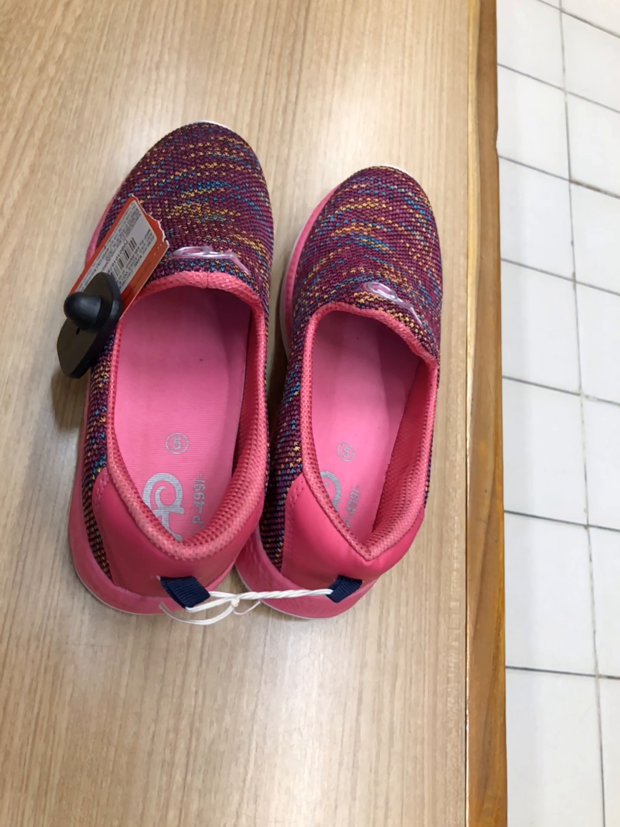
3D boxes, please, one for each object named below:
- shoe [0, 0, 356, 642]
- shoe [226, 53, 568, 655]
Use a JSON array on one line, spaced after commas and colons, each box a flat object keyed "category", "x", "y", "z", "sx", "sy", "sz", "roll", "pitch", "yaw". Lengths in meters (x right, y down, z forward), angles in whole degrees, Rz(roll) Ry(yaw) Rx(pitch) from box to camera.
[{"category": "shoe", "x": -0.051, "y": -0.033, "z": 0.295, "sx": 0.105, "sy": 0.103, "sz": 0.244, "roll": 9, "pitch": 70, "yaw": -17}, {"category": "shoe", "x": 0.044, "y": -0.022, "z": 0.326, "sx": 0.105, "sy": 0.103, "sz": 0.245, "roll": 15, "pitch": 68, "yaw": -15}]
